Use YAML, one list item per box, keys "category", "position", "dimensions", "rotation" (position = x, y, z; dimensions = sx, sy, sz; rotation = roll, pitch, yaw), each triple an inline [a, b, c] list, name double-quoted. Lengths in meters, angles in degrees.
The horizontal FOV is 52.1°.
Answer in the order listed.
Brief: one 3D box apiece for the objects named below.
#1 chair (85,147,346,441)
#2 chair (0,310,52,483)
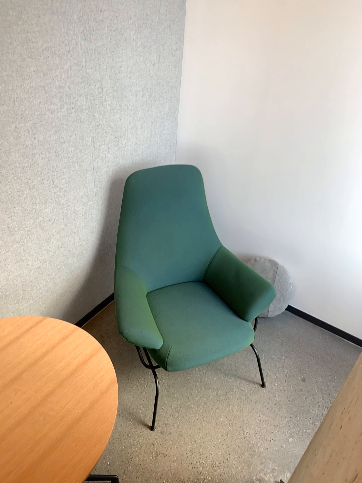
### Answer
- category: "chair"
  position: [0.044, 0.190, 1.960]
  dimensions: [0.820, 0.954, 1.005]
  rotation: [-11, 39, -20]
- category: "chair"
  position: [-0.986, 0.964, 0.867]
  dimensions: [0.852, 1.034, 0.833]
  rotation: [27, 42, 27]
